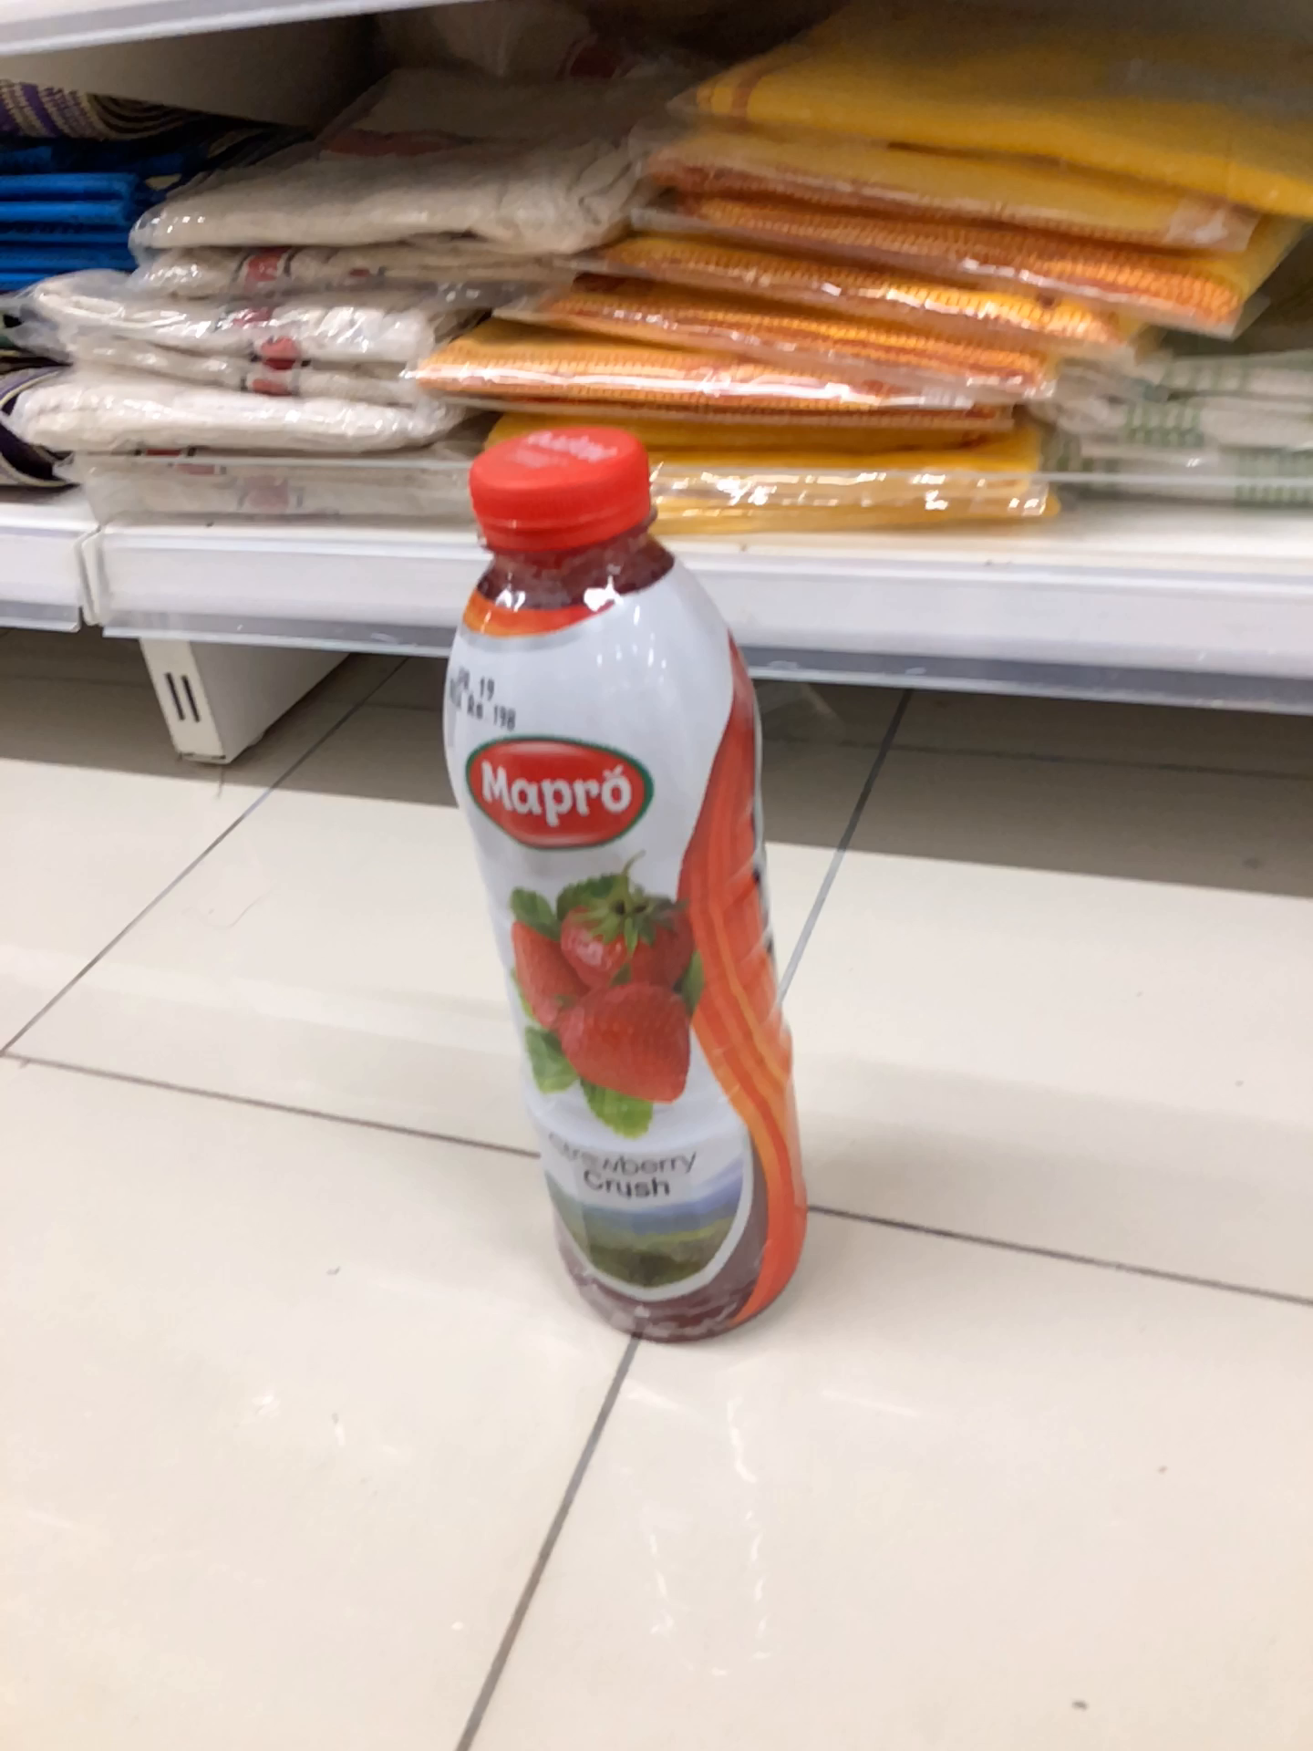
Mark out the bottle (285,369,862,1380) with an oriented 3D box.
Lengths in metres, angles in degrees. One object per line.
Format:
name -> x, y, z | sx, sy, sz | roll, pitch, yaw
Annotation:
bottle -> -0.004, 0.009, 0.372 | 0.090, 0.248, 0.081 | 6, 36, 19
